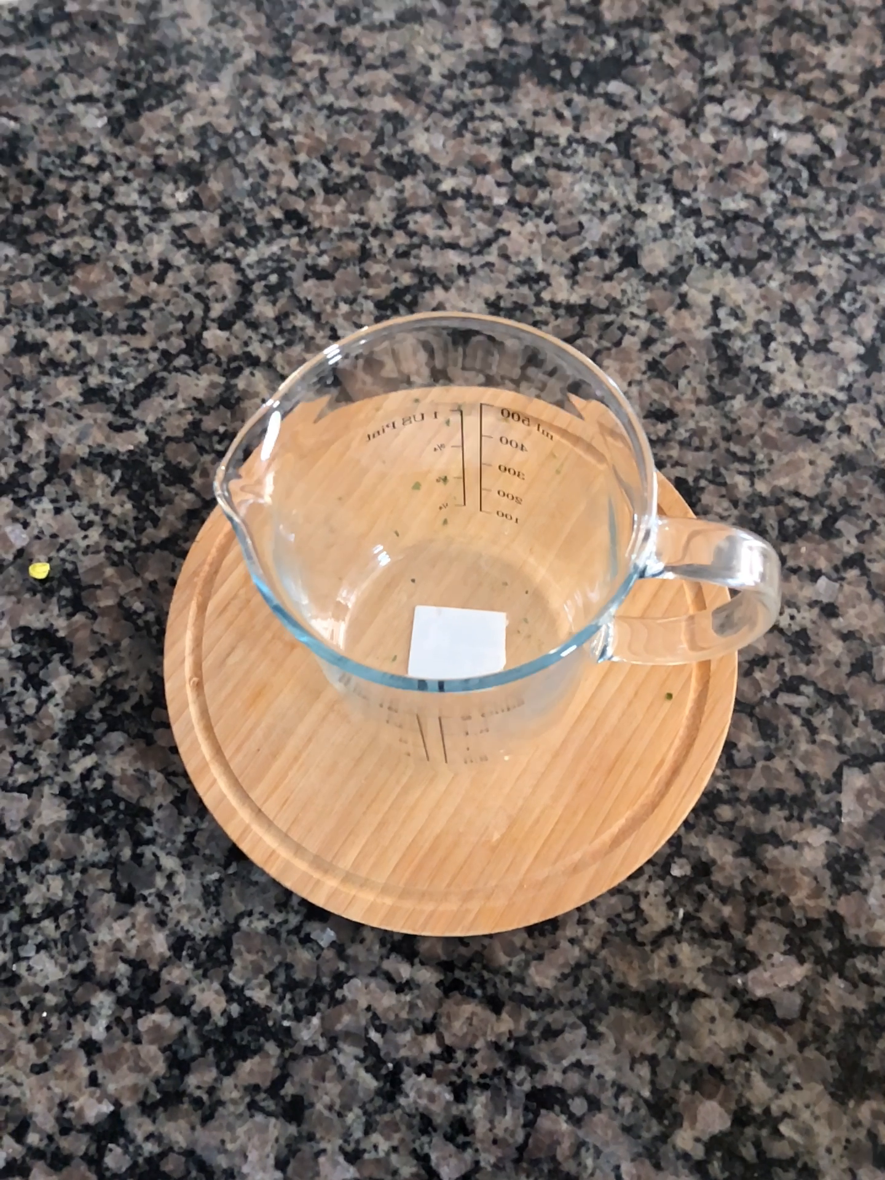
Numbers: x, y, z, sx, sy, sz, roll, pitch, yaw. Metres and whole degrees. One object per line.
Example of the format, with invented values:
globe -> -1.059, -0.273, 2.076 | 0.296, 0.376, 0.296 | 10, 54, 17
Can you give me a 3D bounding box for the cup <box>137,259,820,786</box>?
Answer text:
cup -> 0.013, -0.011, 0.295 | 0.150, 0.128, 0.105 | 3, 68, 4
